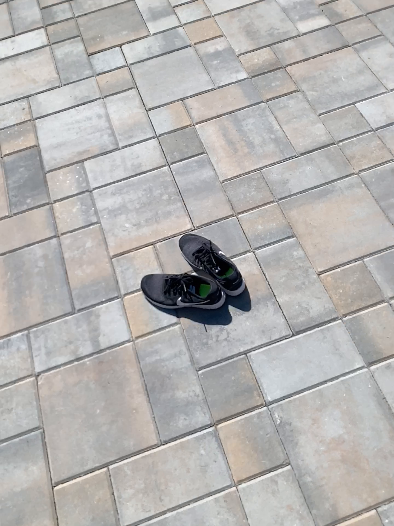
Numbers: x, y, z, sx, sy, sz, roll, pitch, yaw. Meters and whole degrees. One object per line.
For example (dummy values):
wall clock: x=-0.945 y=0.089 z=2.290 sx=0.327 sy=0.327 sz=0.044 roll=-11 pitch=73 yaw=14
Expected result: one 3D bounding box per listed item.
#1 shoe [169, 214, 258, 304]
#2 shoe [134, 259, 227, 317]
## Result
shoe: x=0.048 y=-0.014 z=1.196 sx=0.110 sy=0.100 sz=0.251 roll=-43 pitch=68 yaw=-15
shoe: x=-0.042 y=0.075 z=1.180 sx=0.250 sy=0.110 sz=0.110 roll=6 pitch=64 yaw=8
